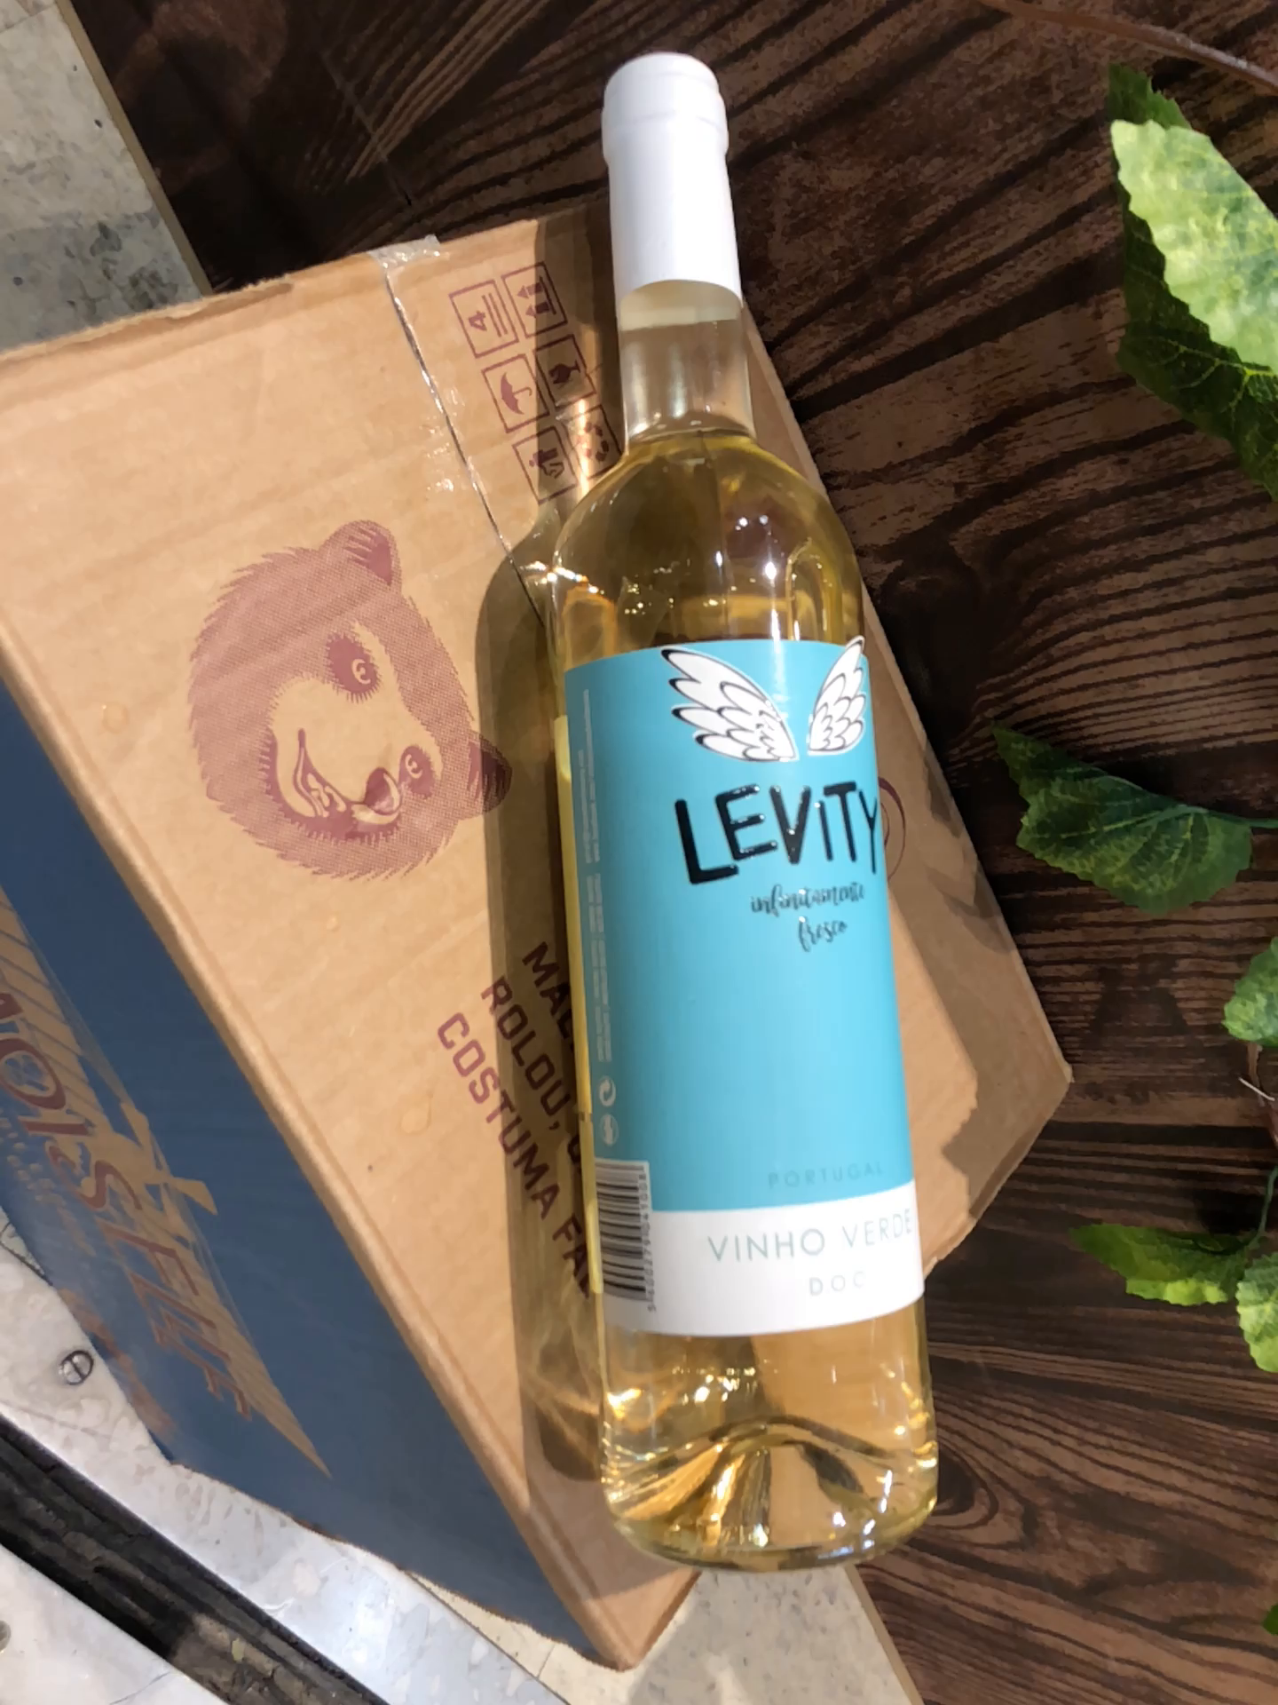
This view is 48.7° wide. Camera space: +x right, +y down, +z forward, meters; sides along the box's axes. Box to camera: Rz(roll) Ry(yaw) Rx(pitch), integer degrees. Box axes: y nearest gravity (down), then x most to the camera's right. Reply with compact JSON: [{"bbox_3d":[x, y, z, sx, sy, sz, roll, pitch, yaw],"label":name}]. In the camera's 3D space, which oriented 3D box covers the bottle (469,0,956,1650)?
[{"bbox_3d":[0.015,-0.027,0.305,0.080,0.050,0.340,2,85,-42],"label":"bottle"}]
